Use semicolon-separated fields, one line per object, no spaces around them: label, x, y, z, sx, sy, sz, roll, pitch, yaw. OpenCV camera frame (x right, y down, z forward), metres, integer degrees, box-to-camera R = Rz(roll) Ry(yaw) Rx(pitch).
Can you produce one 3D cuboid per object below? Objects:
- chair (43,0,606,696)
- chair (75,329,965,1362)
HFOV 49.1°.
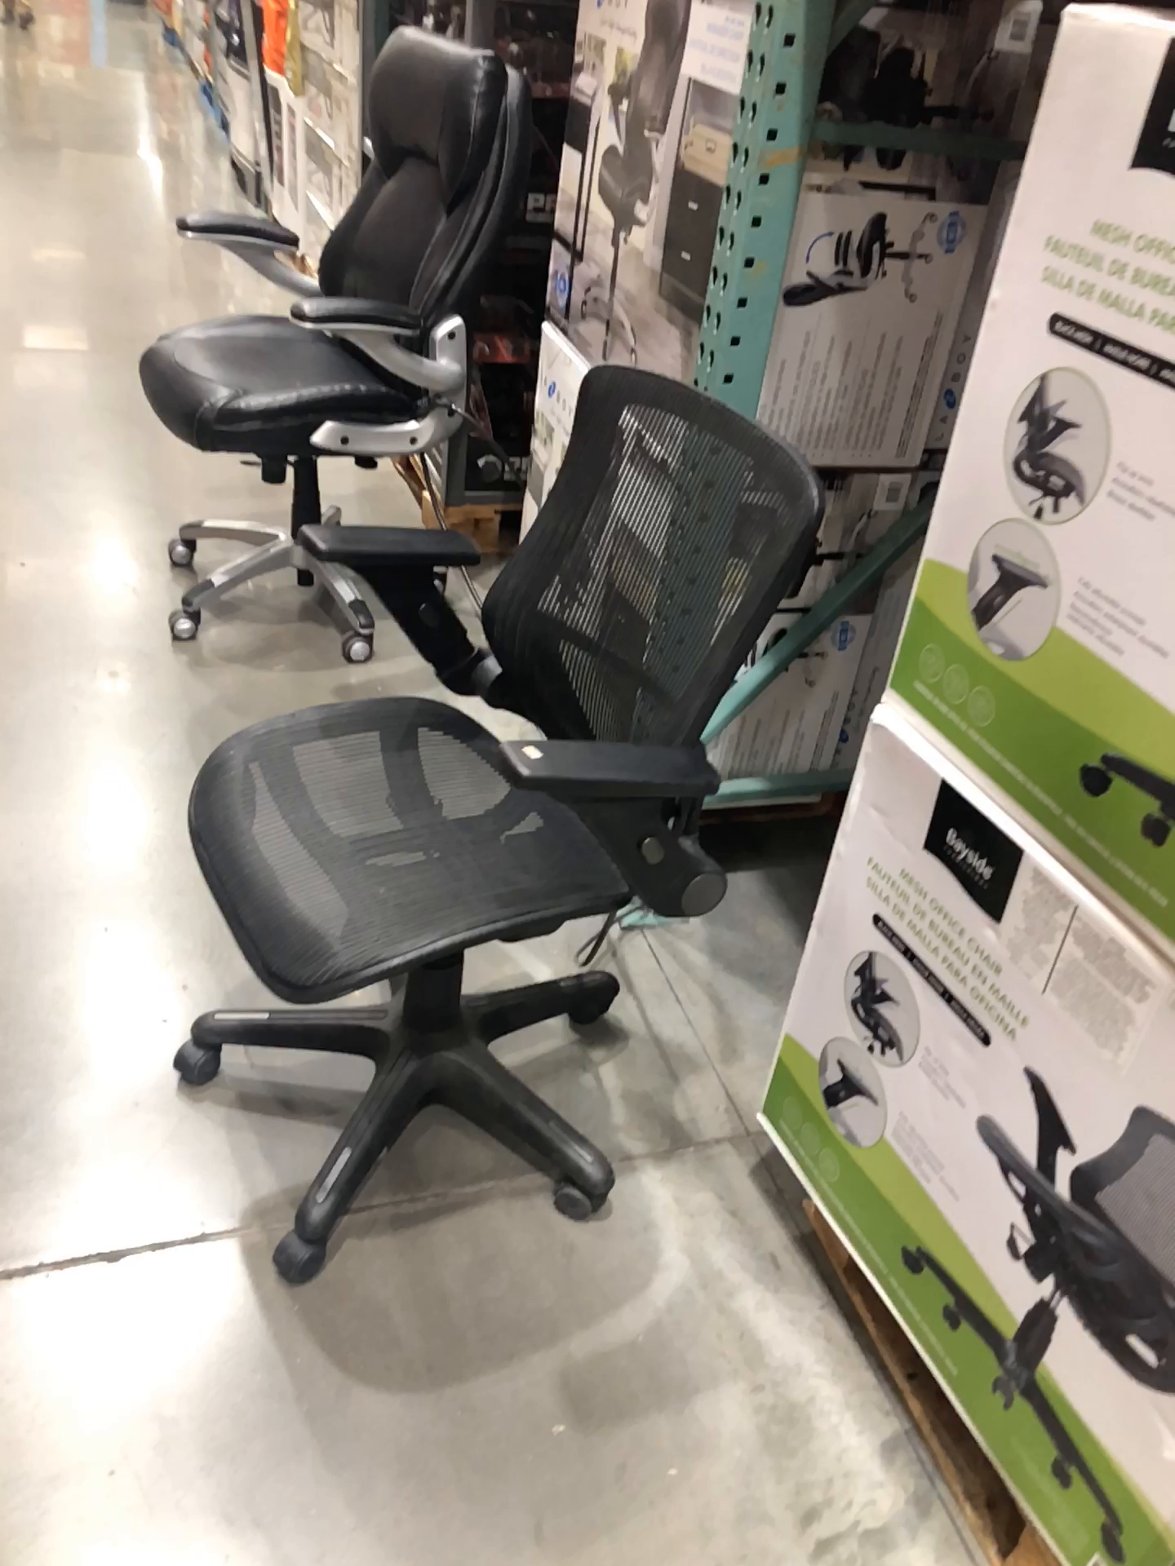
chair;-0.594;-0.956;2.723;0.800;1.145;0.907;-10;37;-26
chair;-0.147;0.024;1.558;0.699;0.936;0.636;-11;38;-27
